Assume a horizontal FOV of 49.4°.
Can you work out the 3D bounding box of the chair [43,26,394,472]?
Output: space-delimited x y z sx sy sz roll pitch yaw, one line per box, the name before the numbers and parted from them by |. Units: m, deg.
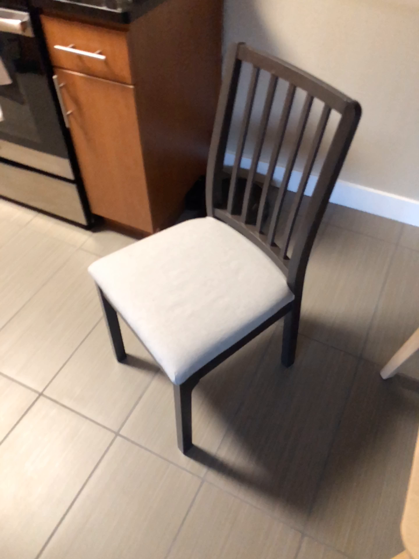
chair | 0.001 0.004 1.315 0.511 1.125 0.482 -26 53 -21
